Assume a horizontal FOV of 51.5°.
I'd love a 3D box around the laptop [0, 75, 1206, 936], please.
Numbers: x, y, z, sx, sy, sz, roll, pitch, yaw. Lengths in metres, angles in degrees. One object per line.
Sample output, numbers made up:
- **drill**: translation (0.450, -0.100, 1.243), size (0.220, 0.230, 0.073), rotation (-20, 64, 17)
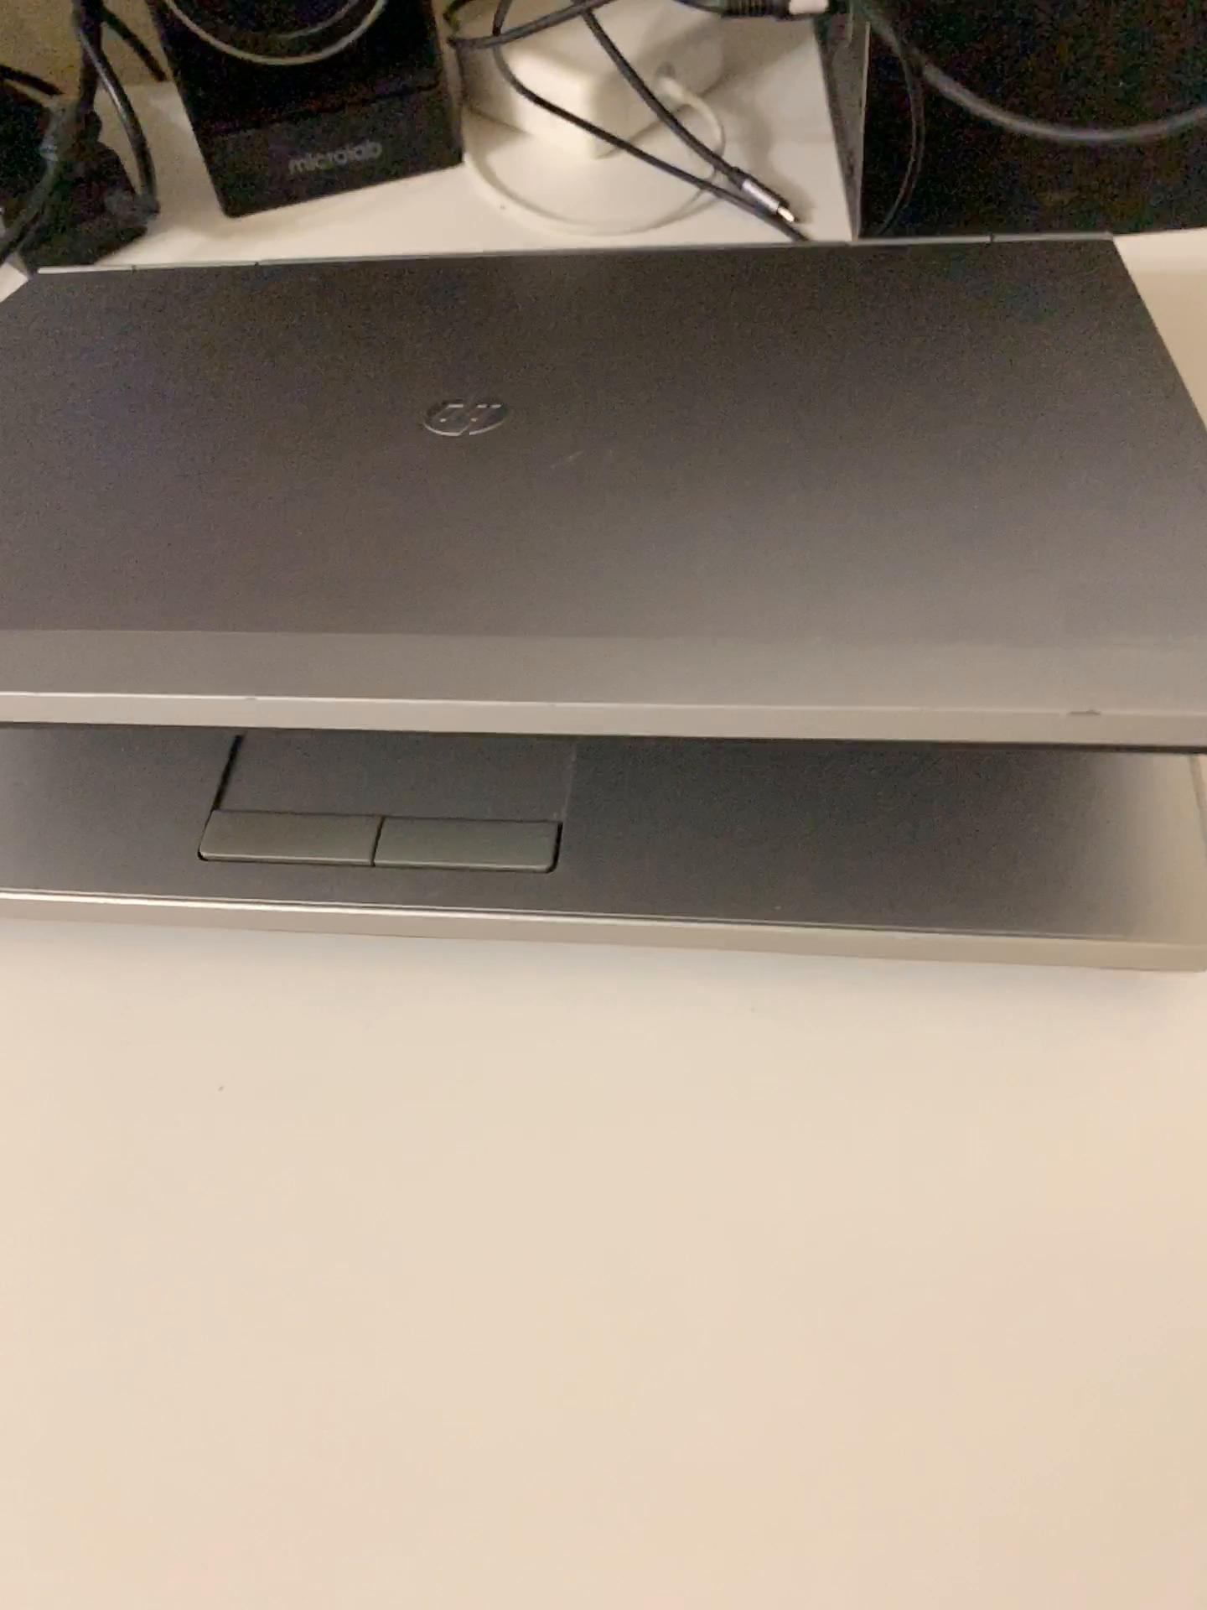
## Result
- **laptop**: translation (-0.025, -0.078, 0.284), size (0.303, 0.042, 0.201), rotation (2, 59, 8)
